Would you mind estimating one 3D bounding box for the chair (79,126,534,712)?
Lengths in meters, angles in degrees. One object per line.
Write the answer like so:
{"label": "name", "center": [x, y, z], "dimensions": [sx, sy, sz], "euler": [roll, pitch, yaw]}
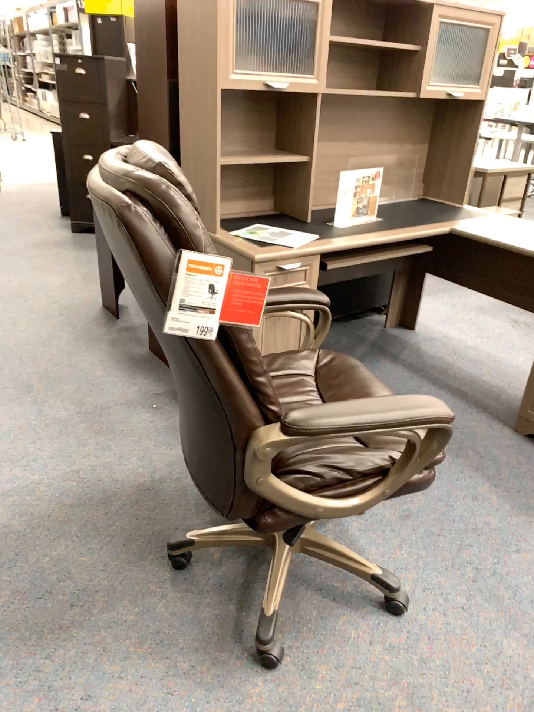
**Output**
{"label": "chair", "center": [0.035, 0.080, 1.338], "dimensions": [0.811, 1.113, 0.727], "euler": [-5, 28, -15]}
